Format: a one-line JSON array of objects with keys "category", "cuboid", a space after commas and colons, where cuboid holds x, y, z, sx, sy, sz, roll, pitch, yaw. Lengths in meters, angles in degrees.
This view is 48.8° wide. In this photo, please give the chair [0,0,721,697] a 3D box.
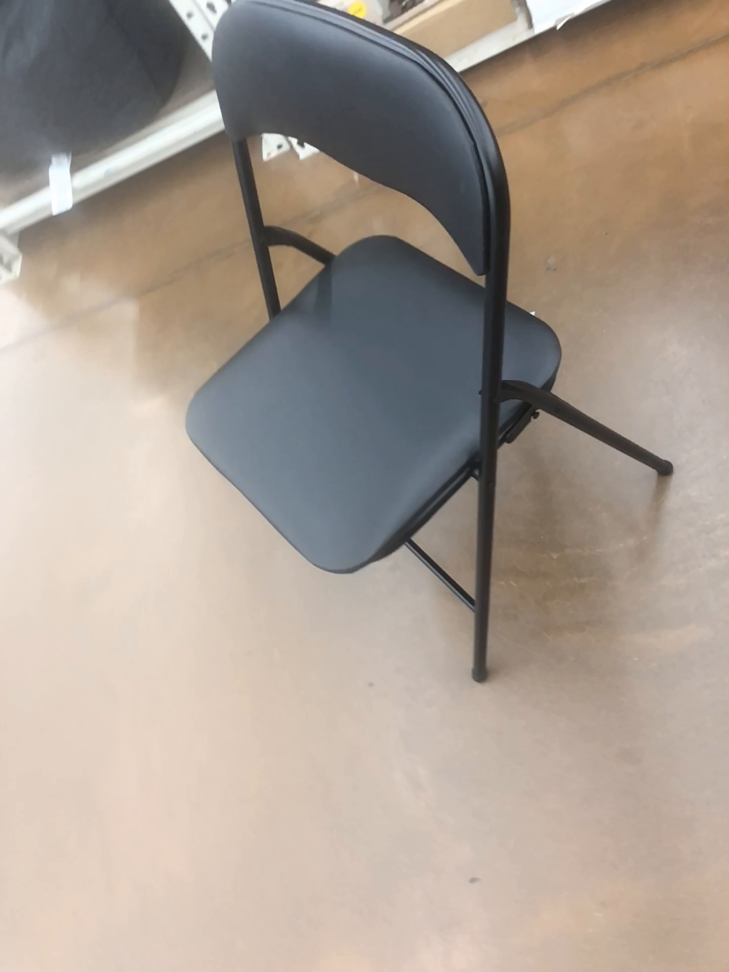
[{"category": "chair", "cuboid": [0.024, -0.175, 0.975, 0.490, 0.758, 0.521, -50, 55, -2]}]
